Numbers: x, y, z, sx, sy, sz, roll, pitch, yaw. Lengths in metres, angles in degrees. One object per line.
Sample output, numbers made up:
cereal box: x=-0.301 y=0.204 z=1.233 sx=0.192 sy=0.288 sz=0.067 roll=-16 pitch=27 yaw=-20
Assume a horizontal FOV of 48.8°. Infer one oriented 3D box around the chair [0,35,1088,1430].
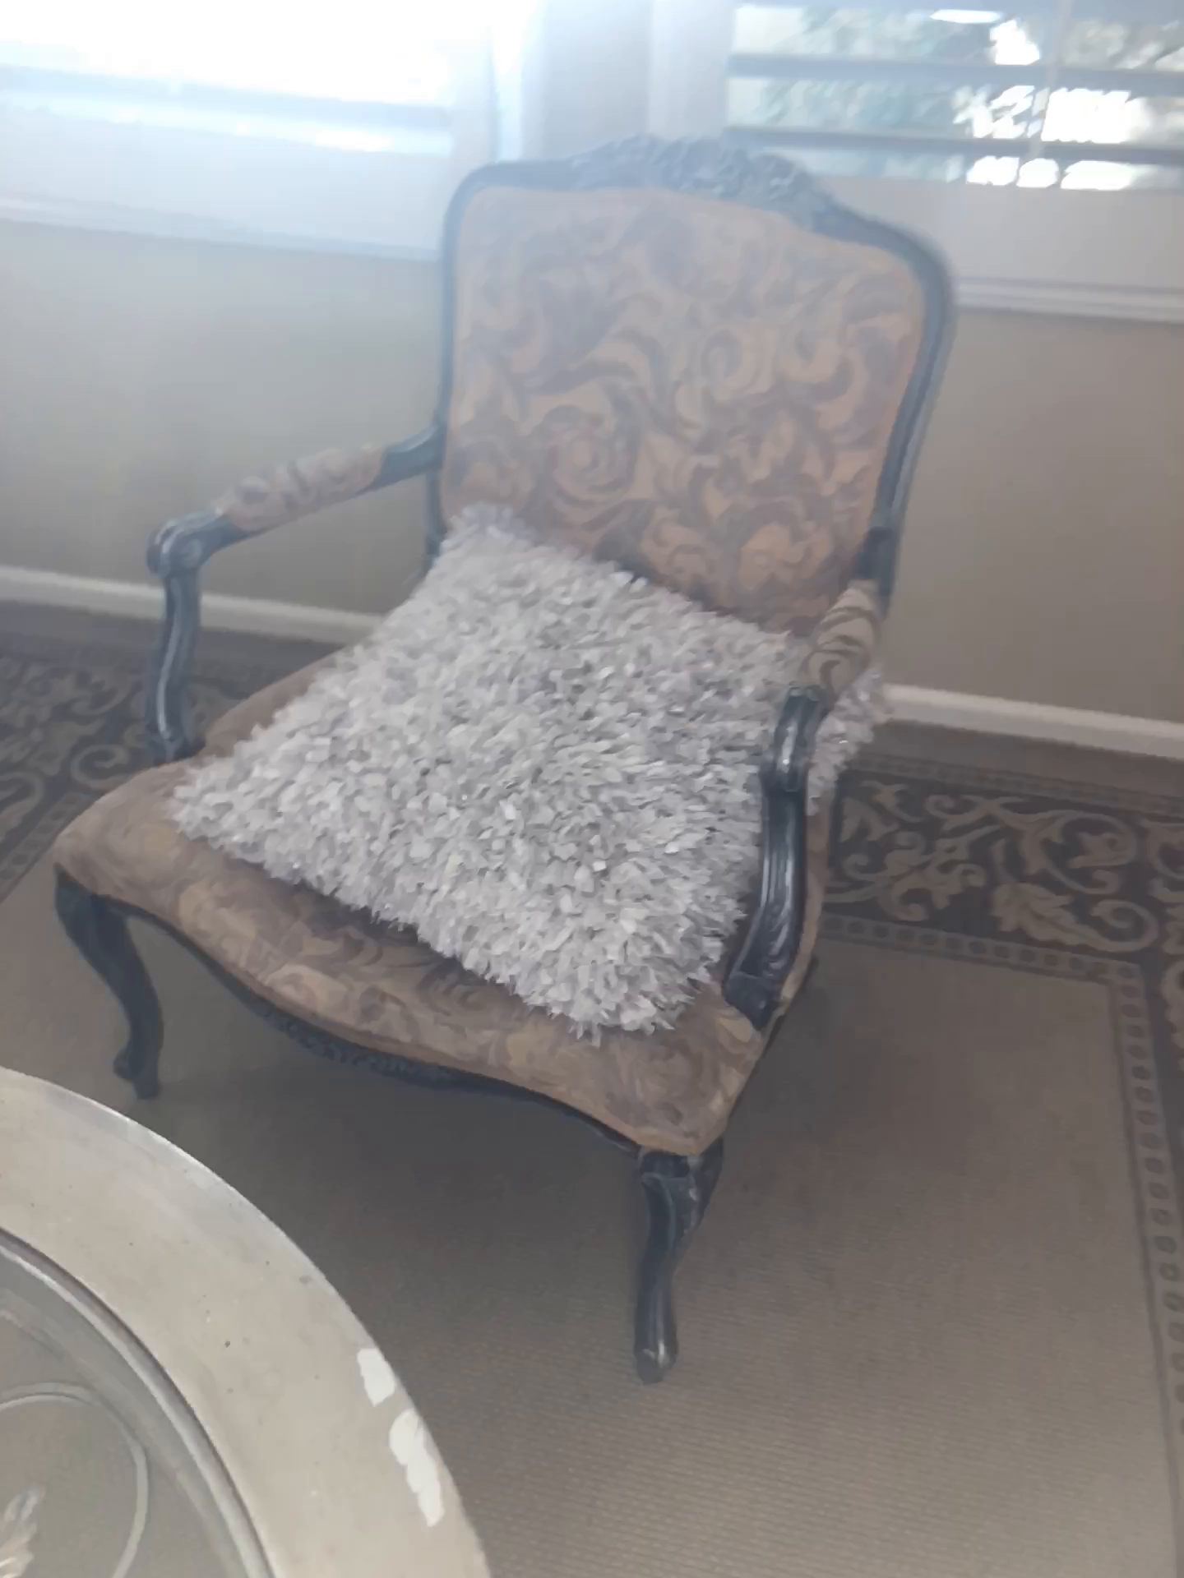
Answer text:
chair: x=-0.100 y=-0.094 z=1.262 sx=0.760 sy=0.972 sz=0.655 roll=20 pitch=41 yaw=22
